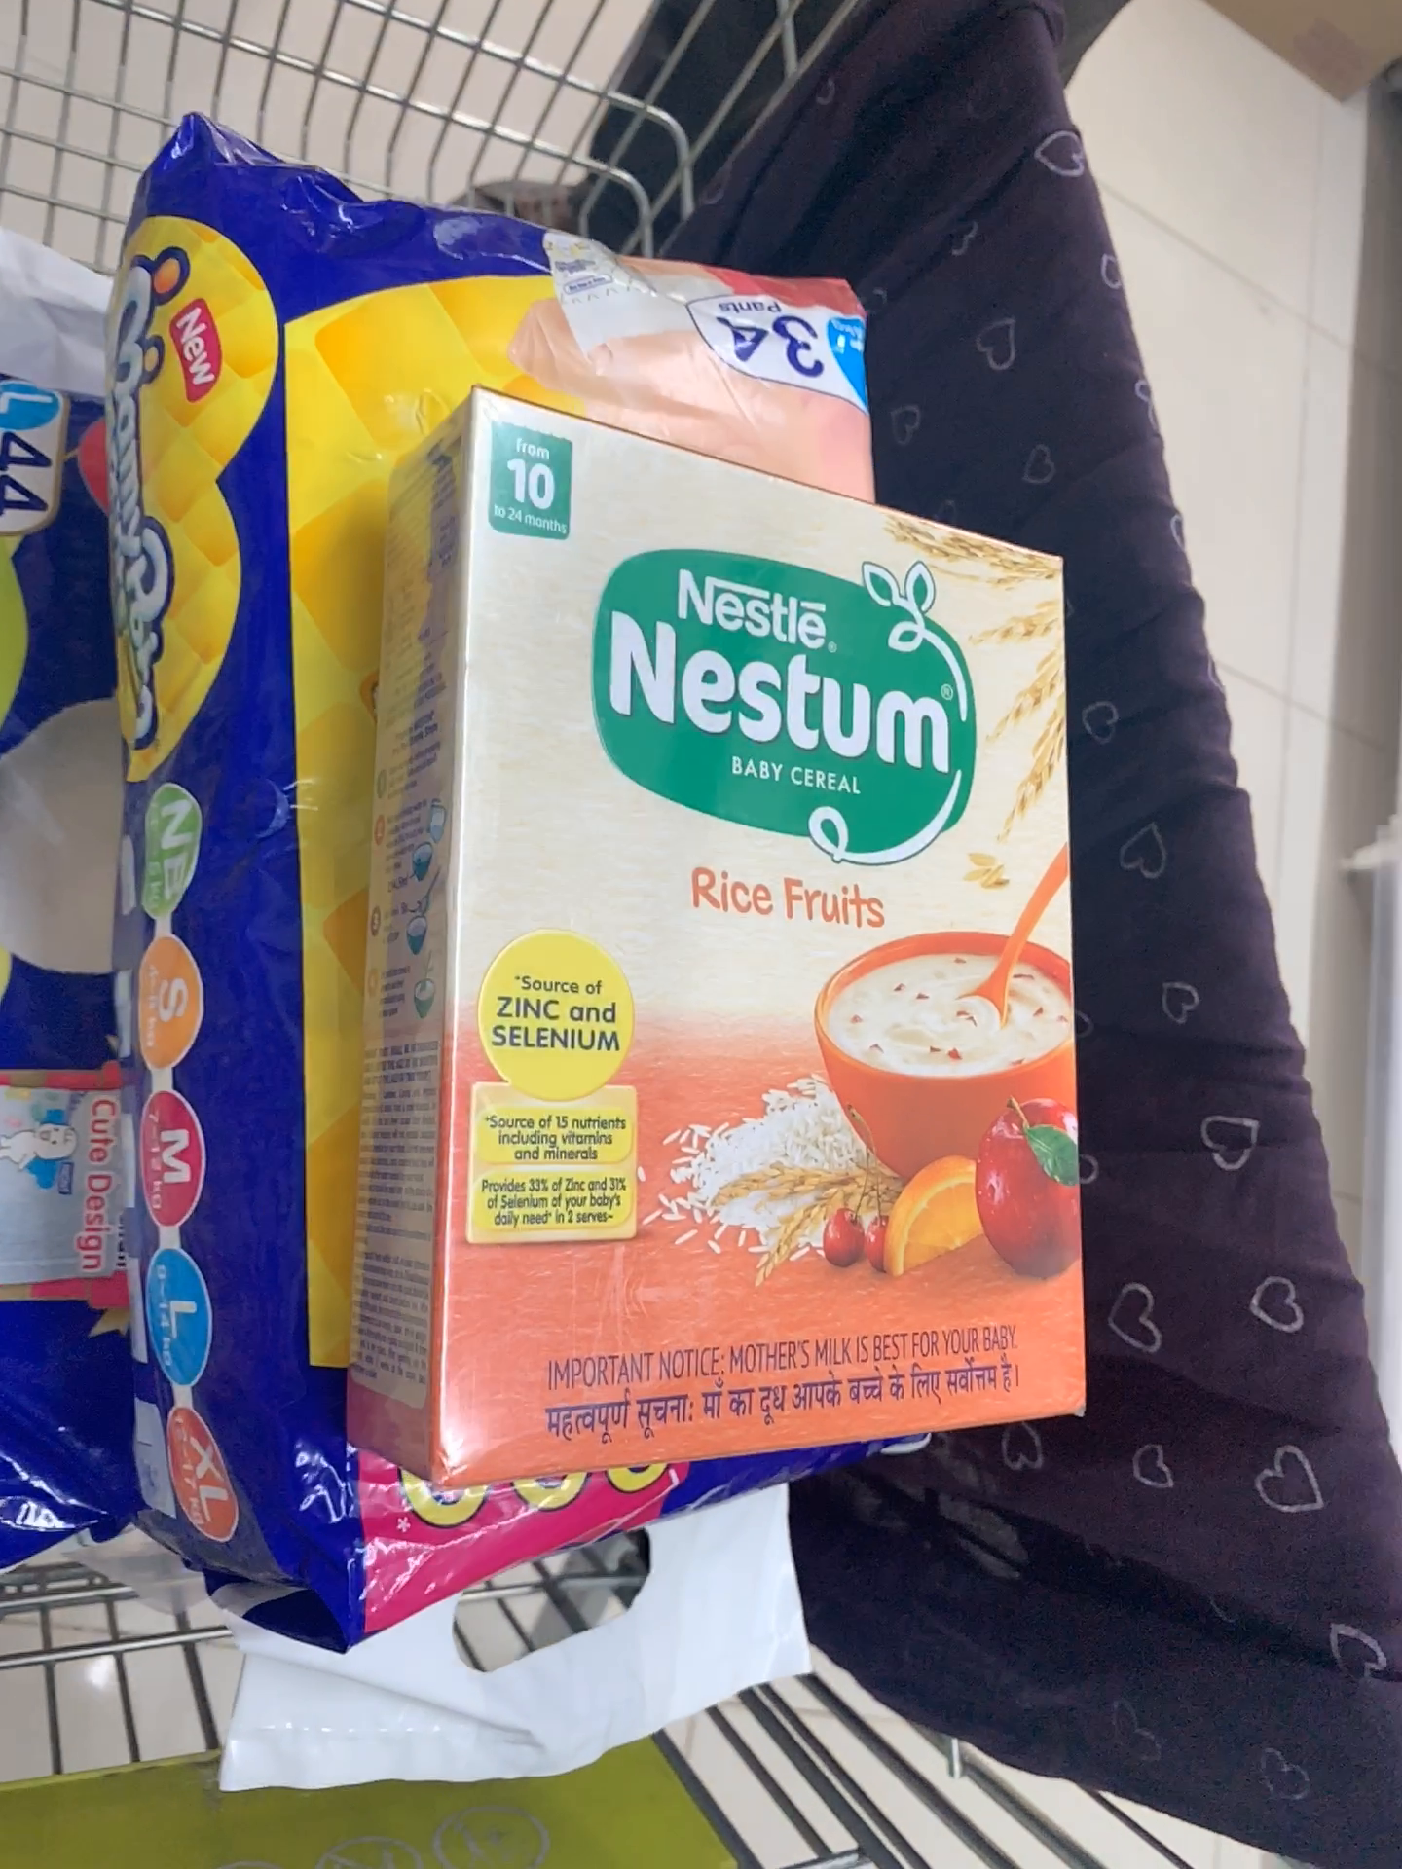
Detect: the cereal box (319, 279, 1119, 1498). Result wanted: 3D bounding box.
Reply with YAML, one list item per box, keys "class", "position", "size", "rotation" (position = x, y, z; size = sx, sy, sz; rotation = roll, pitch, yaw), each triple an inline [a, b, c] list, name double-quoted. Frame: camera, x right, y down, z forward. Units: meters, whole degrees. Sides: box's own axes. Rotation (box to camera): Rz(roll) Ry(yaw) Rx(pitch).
- class: "cereal box"
  position: [0.011, -0.004, 0.308]
  size: [0.160, 0.050, 0.210]
  rotation: [6, 82, -30]
